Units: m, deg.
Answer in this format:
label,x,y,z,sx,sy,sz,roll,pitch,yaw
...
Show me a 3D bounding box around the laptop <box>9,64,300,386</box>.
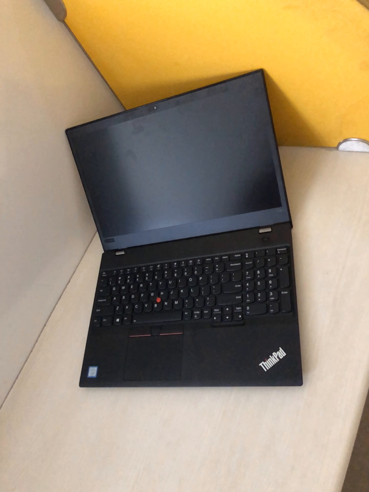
label,x,y,z,sx,sy,sz,roll,pitch,yaw
laptop,-0.032,-0.020,0.621,0.345,0.150,0.421,-9,61,22
